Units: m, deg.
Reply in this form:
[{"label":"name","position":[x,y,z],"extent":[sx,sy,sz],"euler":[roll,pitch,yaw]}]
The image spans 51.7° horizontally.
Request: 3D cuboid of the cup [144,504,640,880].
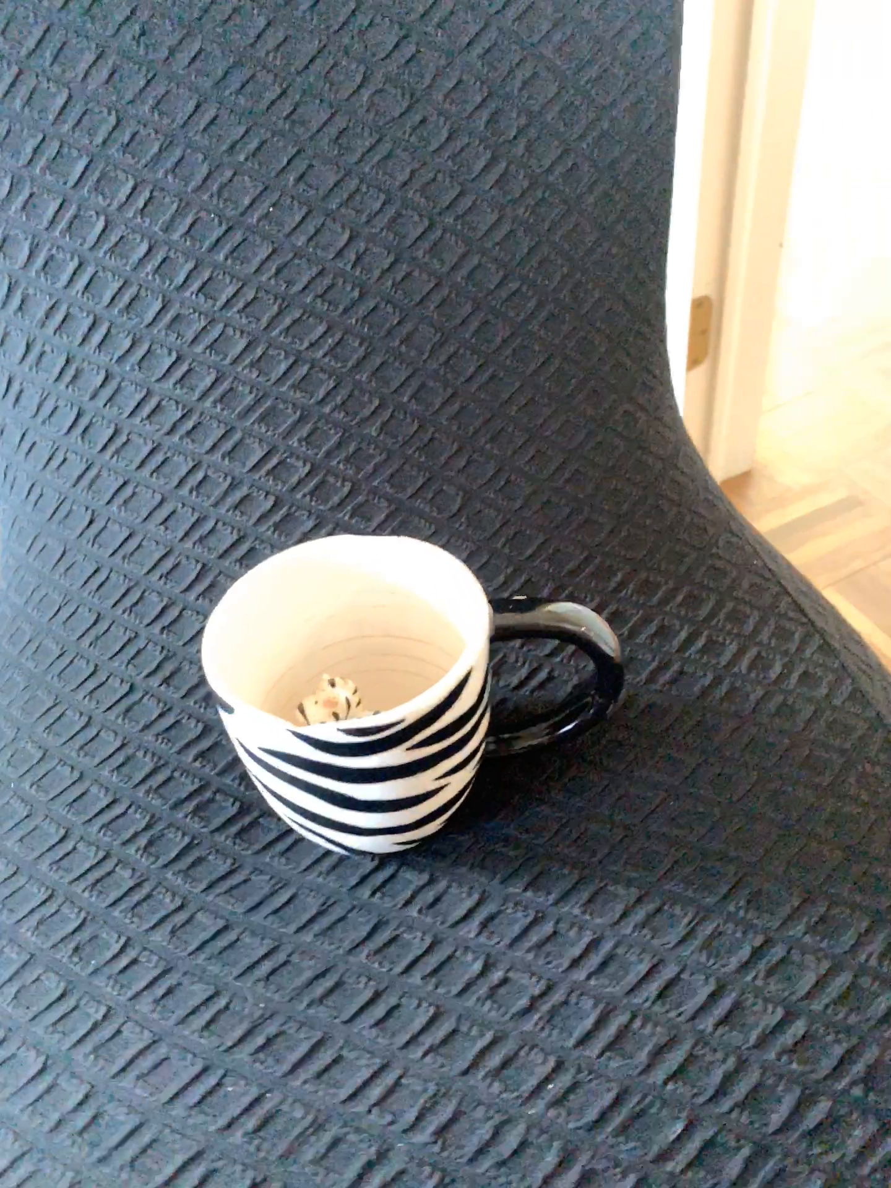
[{"label":"cup","position":[-0.011,0.036,0.316],"extent":[0.140,0.090,0.080],"euler":[-5,46,5]}]
